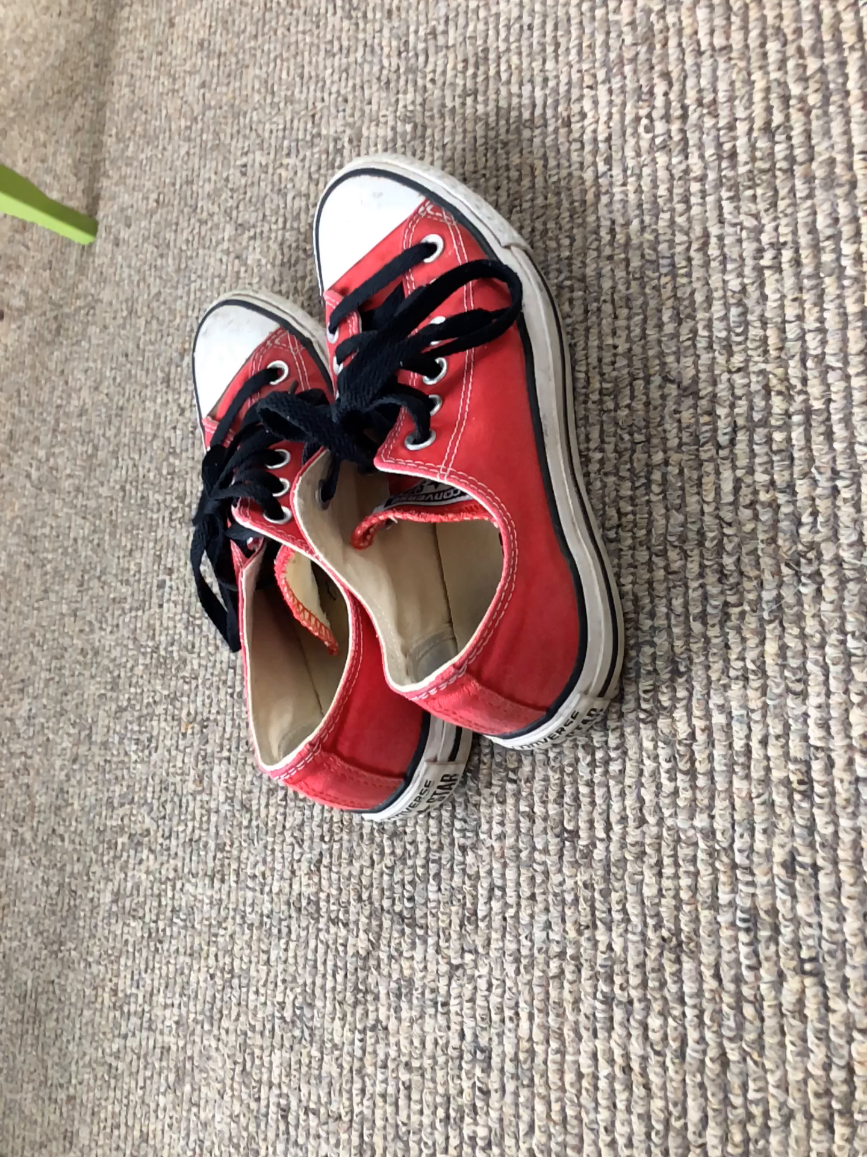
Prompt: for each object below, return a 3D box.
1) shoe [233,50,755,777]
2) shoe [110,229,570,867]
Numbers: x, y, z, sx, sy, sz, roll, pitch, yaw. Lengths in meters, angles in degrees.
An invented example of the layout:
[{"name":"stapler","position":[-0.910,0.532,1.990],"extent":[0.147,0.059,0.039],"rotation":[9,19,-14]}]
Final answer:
[{"name":"shoe","position":[0.010,-0.065,0.378],"extent":[0.102,0.088,0.259],"rotation":[-35,58,30]},{"name":"shoe","position":[-0.055,-0.018,0.435],"extent":[0.102,0.097,0.263],"rotation":[-40,56,28]}]
